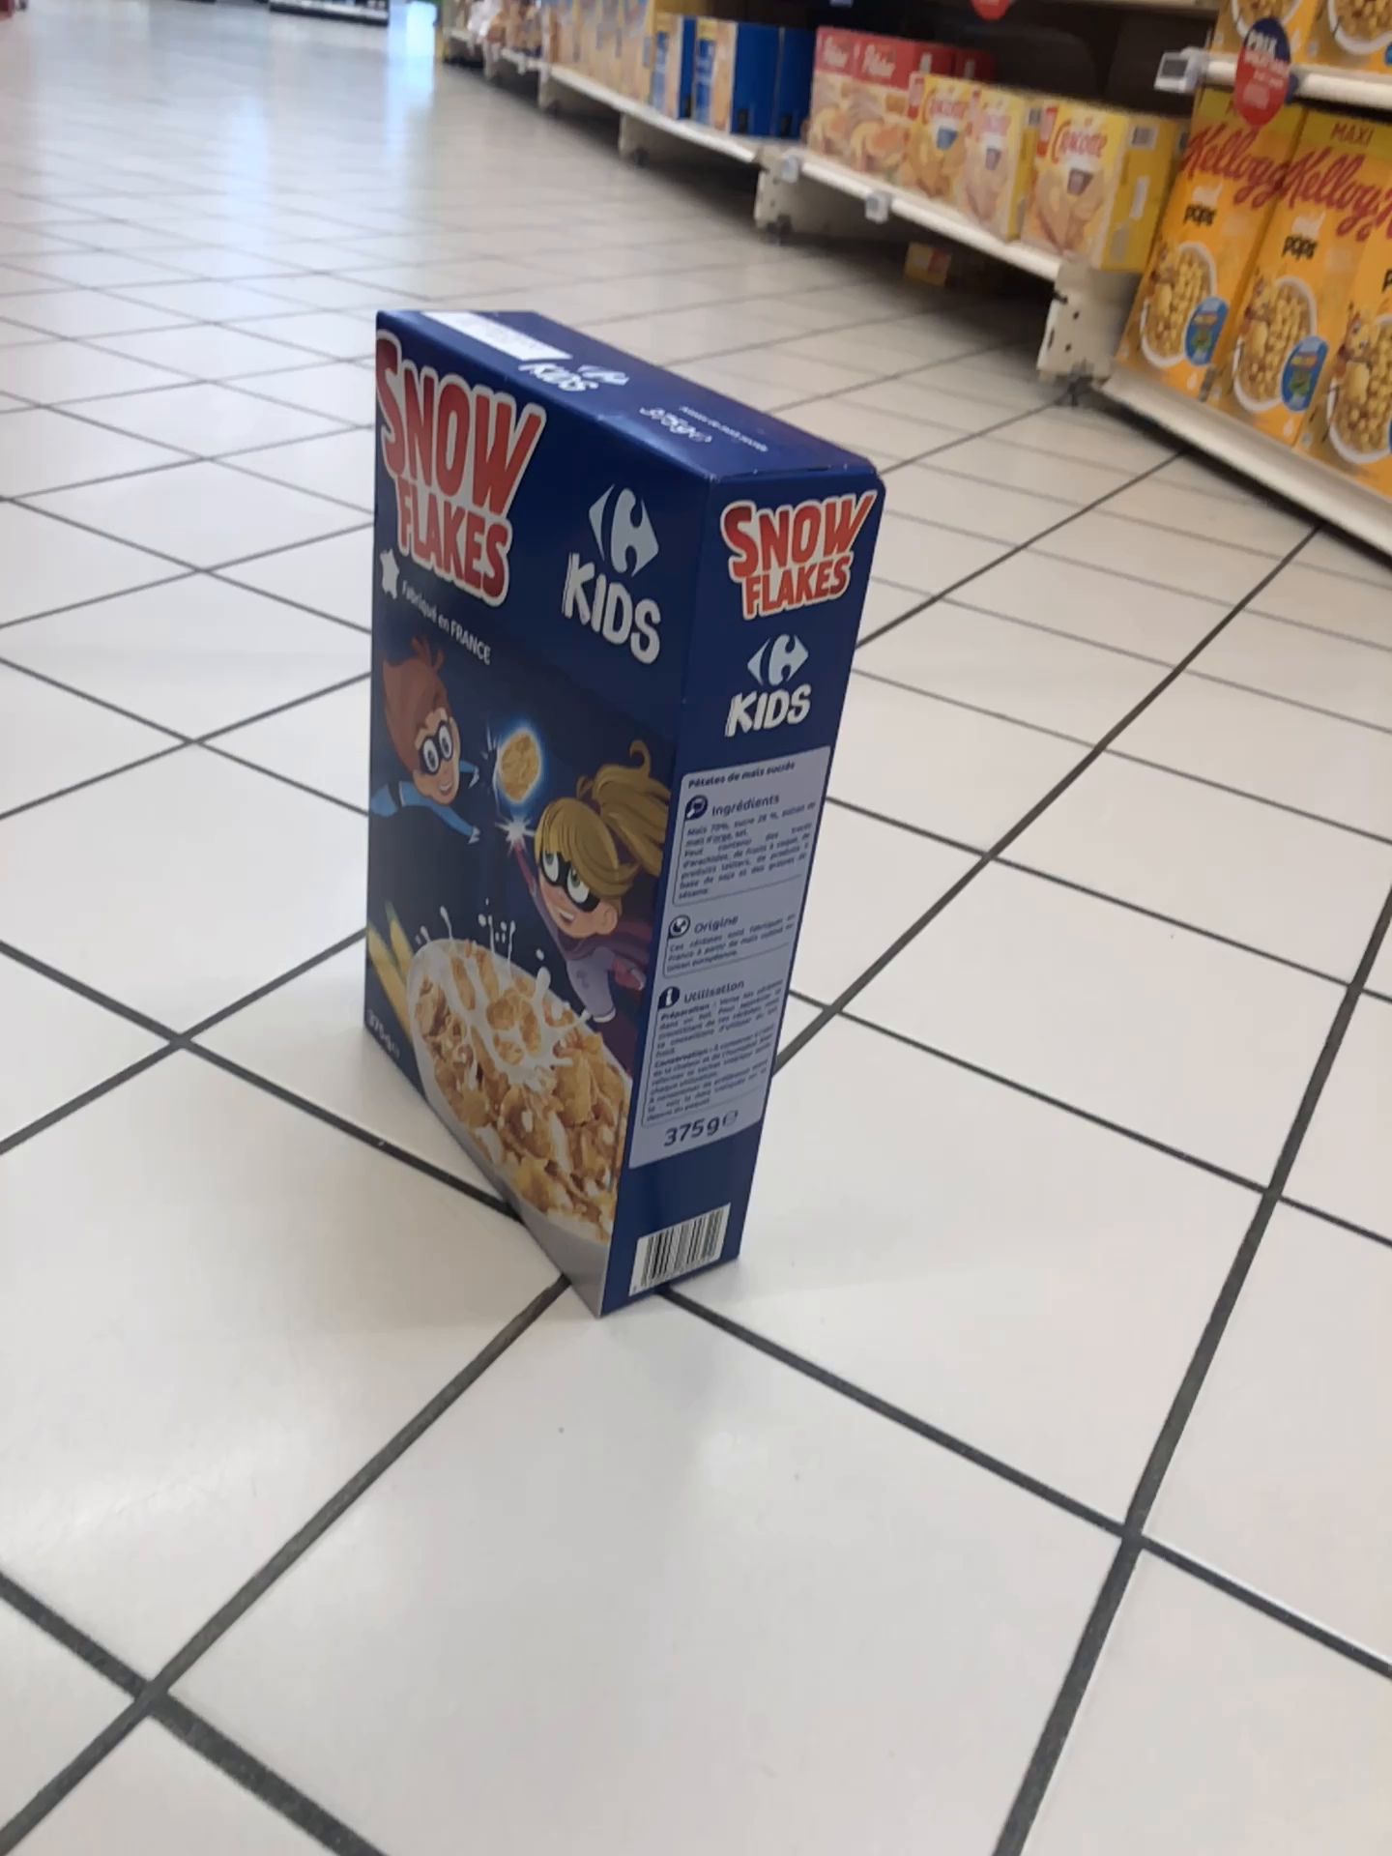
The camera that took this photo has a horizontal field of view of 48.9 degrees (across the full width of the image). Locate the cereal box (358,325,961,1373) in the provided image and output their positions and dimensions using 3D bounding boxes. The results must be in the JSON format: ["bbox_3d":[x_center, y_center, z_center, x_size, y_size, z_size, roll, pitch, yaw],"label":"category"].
[{"bbox_3d":[-0.036,-0.033,0.525,0.080,0.288,0.200,-13,36,-32],"label":"cereal box"}]
